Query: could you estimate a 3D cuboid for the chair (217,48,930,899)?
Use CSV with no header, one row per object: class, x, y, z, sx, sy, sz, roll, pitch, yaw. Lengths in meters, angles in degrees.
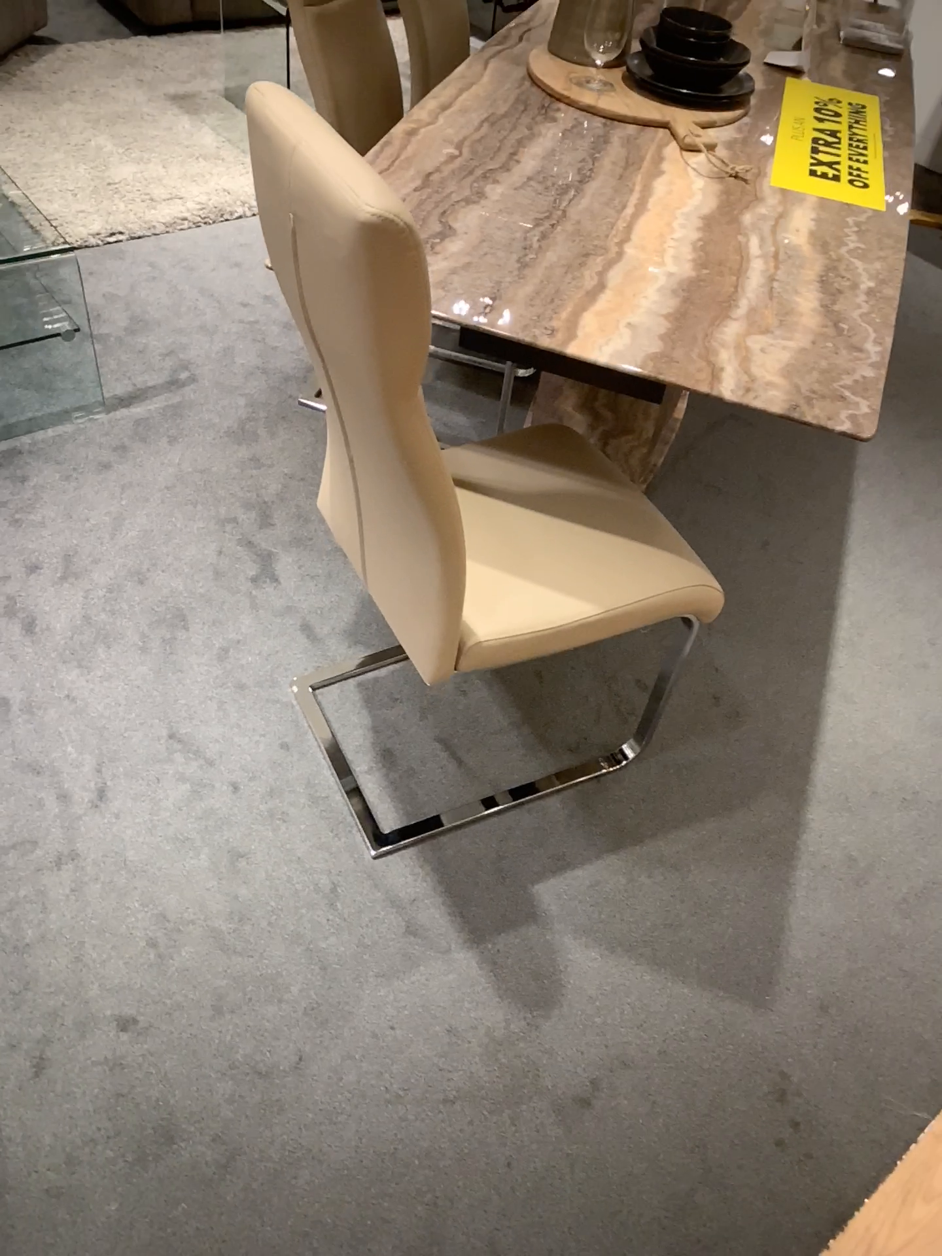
chair,0.034,-0.171,1.318,0.570,0.974,0.477,-16,51,-24
